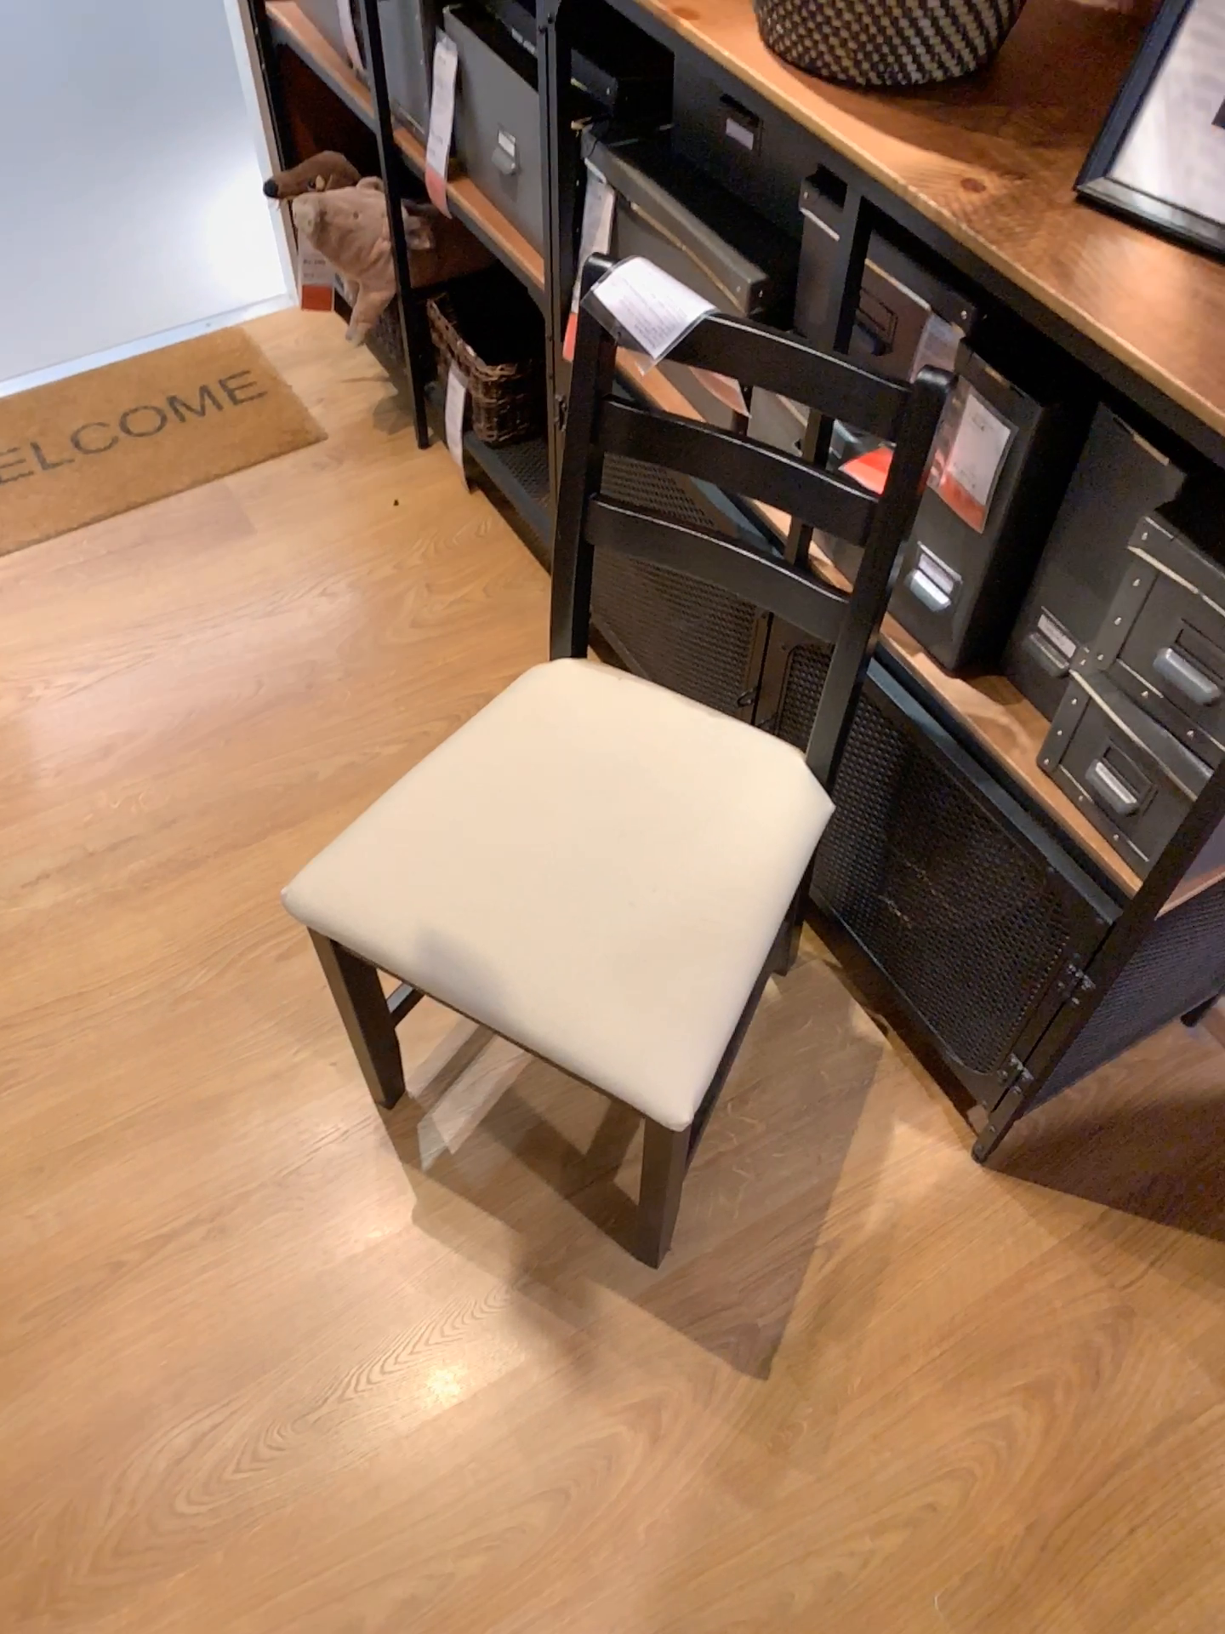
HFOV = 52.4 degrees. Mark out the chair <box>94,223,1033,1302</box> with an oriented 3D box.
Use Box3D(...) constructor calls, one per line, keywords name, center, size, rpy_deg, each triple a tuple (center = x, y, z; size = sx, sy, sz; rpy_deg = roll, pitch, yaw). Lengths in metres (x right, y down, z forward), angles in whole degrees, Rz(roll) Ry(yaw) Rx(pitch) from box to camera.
Box3D(name="chair", center=(-0.008, -0.004, 1.172), size=(0.430, 0.768, 0.541), rpy_deg=(25, 58, 17))
